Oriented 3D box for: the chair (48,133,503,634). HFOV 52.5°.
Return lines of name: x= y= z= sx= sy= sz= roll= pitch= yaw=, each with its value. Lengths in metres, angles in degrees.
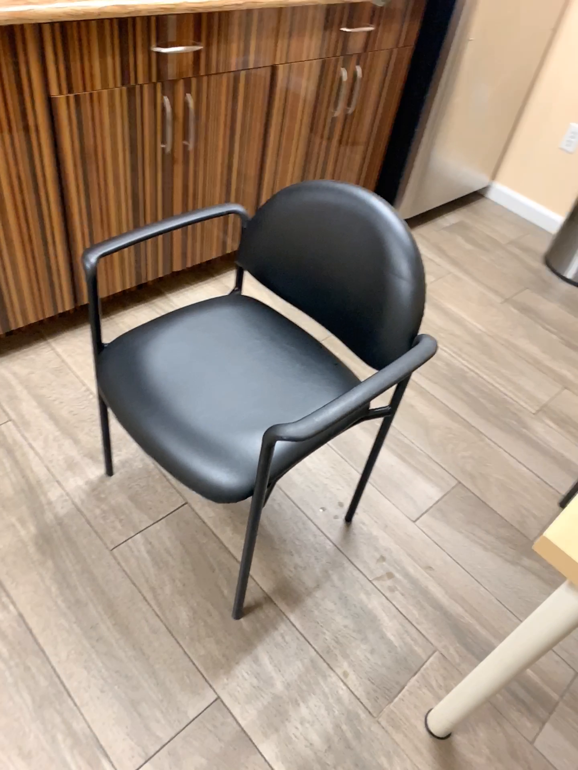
chair: x=-0.069 y=-0.009 z=1.259 sx=0.591 sy=0.736 sz=0.522 roll=39 pitch=50 yaw=24
